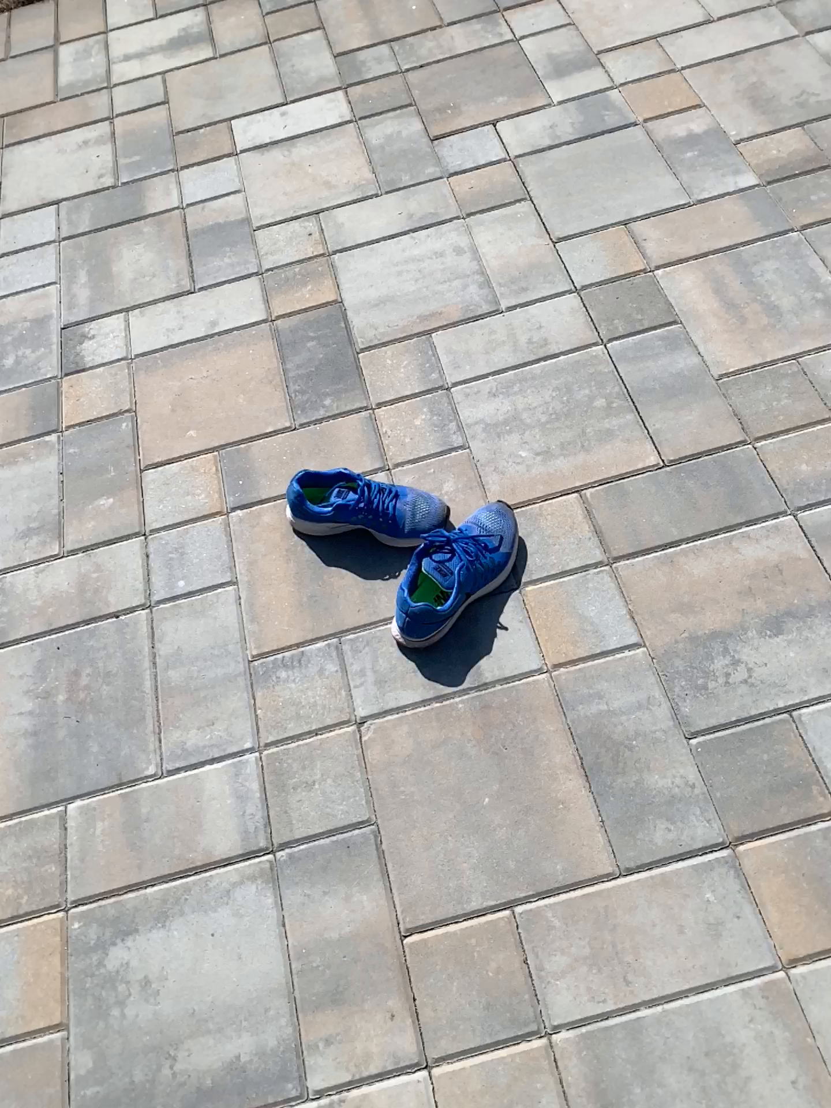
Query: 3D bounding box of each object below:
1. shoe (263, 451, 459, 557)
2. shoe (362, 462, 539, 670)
[{"bbox_3d":[-0.082,-0.081,1.337,0.280,0.080,0.120,6,60,12],"label":"shoe"},{"bbox_3d":[0.059,0.015,1.258,0.120,0.110,0.270,30,68,23],"label":"shoe"}]
